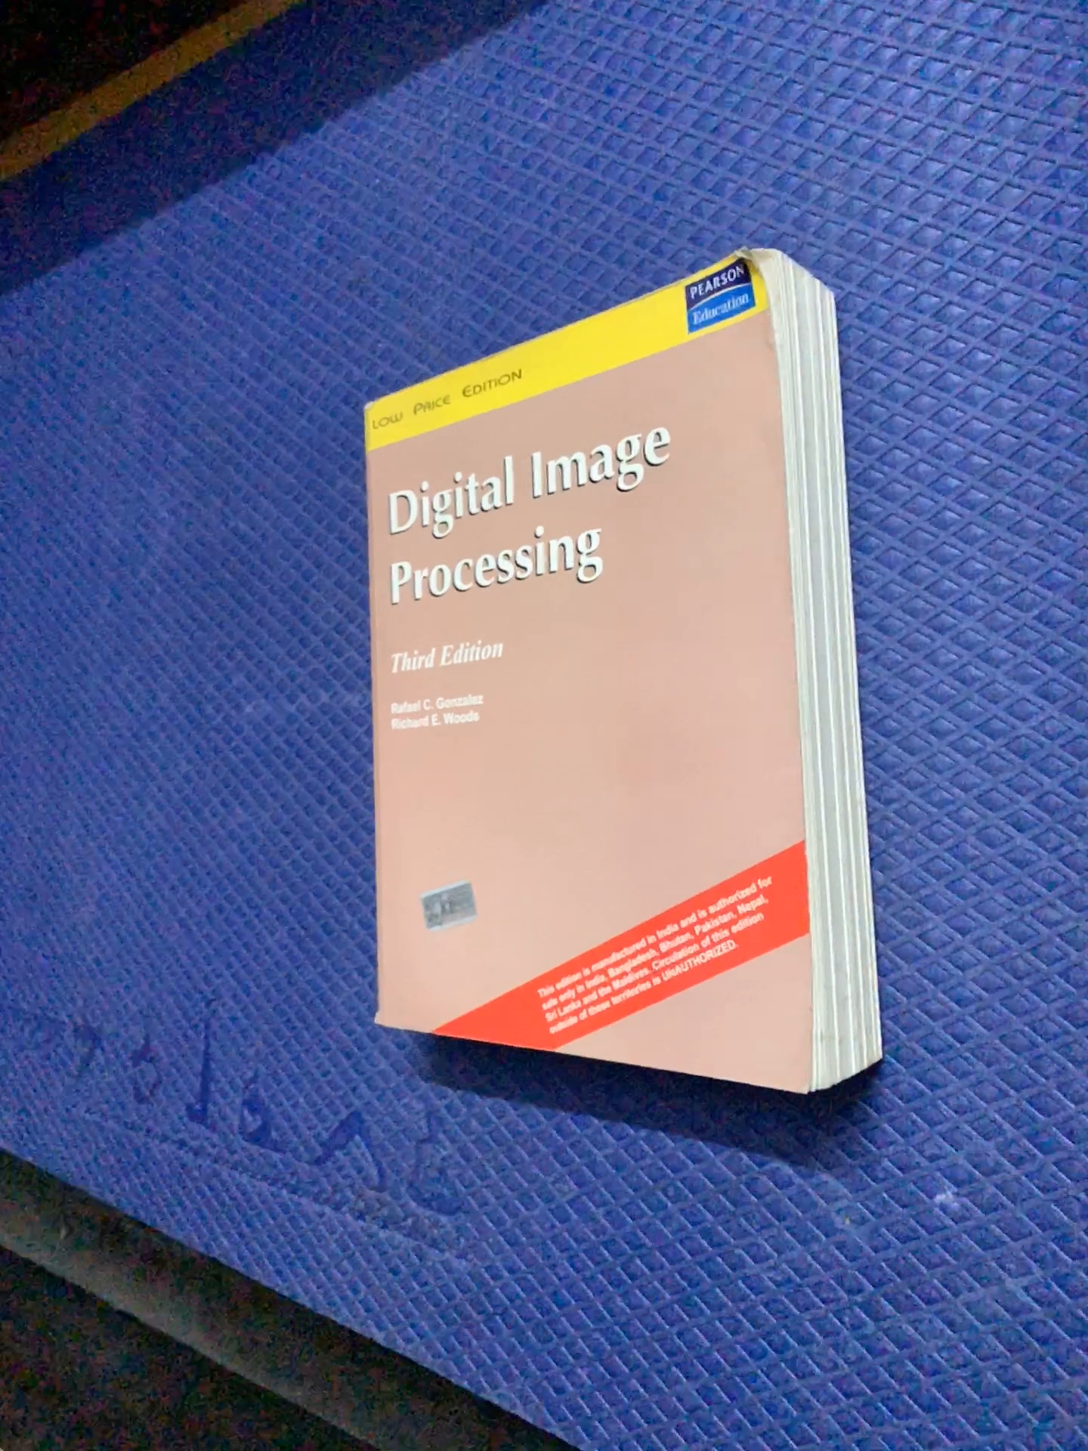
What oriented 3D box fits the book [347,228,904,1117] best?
[{"bbox_3d":[0.014,-0.010,0.354,0.175,0.045,0.225,-5,84,38],"label":"book"}]
